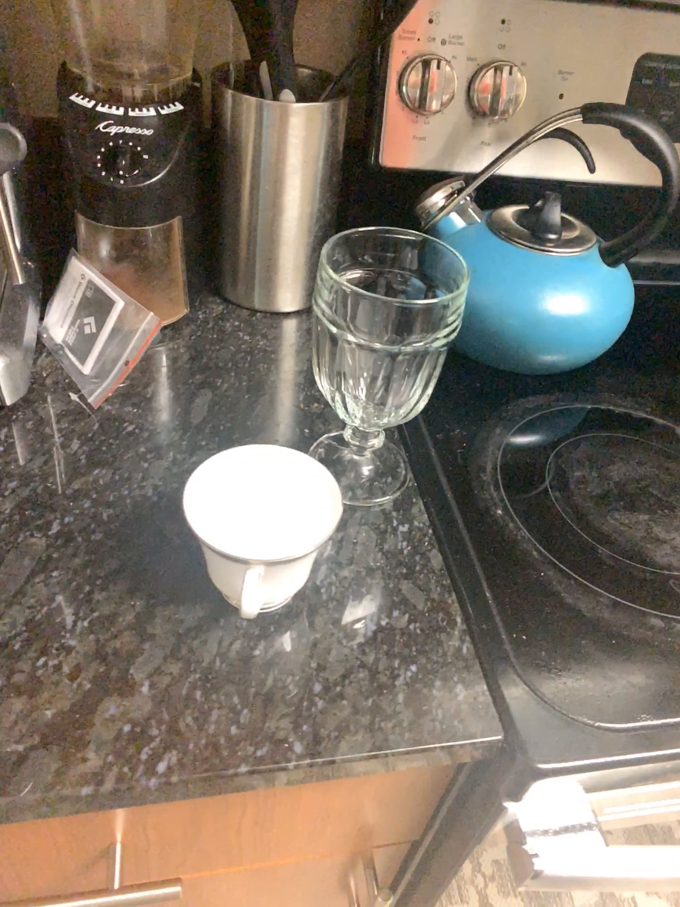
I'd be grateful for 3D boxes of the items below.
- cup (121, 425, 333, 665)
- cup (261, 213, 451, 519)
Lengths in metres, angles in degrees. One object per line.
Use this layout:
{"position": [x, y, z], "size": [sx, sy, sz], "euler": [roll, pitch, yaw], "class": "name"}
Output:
{"position": [-0.059, 0.051, 0.405], "size": [0.100, 0.070, 0.111], "euler": [6, 41, -3], "class": "cup"}
{"position": [0.004, -0.057, 0.487], "size": [0.100, 0.169, 0.111], "euler": [6, 41, -3], "class": "cup"}
